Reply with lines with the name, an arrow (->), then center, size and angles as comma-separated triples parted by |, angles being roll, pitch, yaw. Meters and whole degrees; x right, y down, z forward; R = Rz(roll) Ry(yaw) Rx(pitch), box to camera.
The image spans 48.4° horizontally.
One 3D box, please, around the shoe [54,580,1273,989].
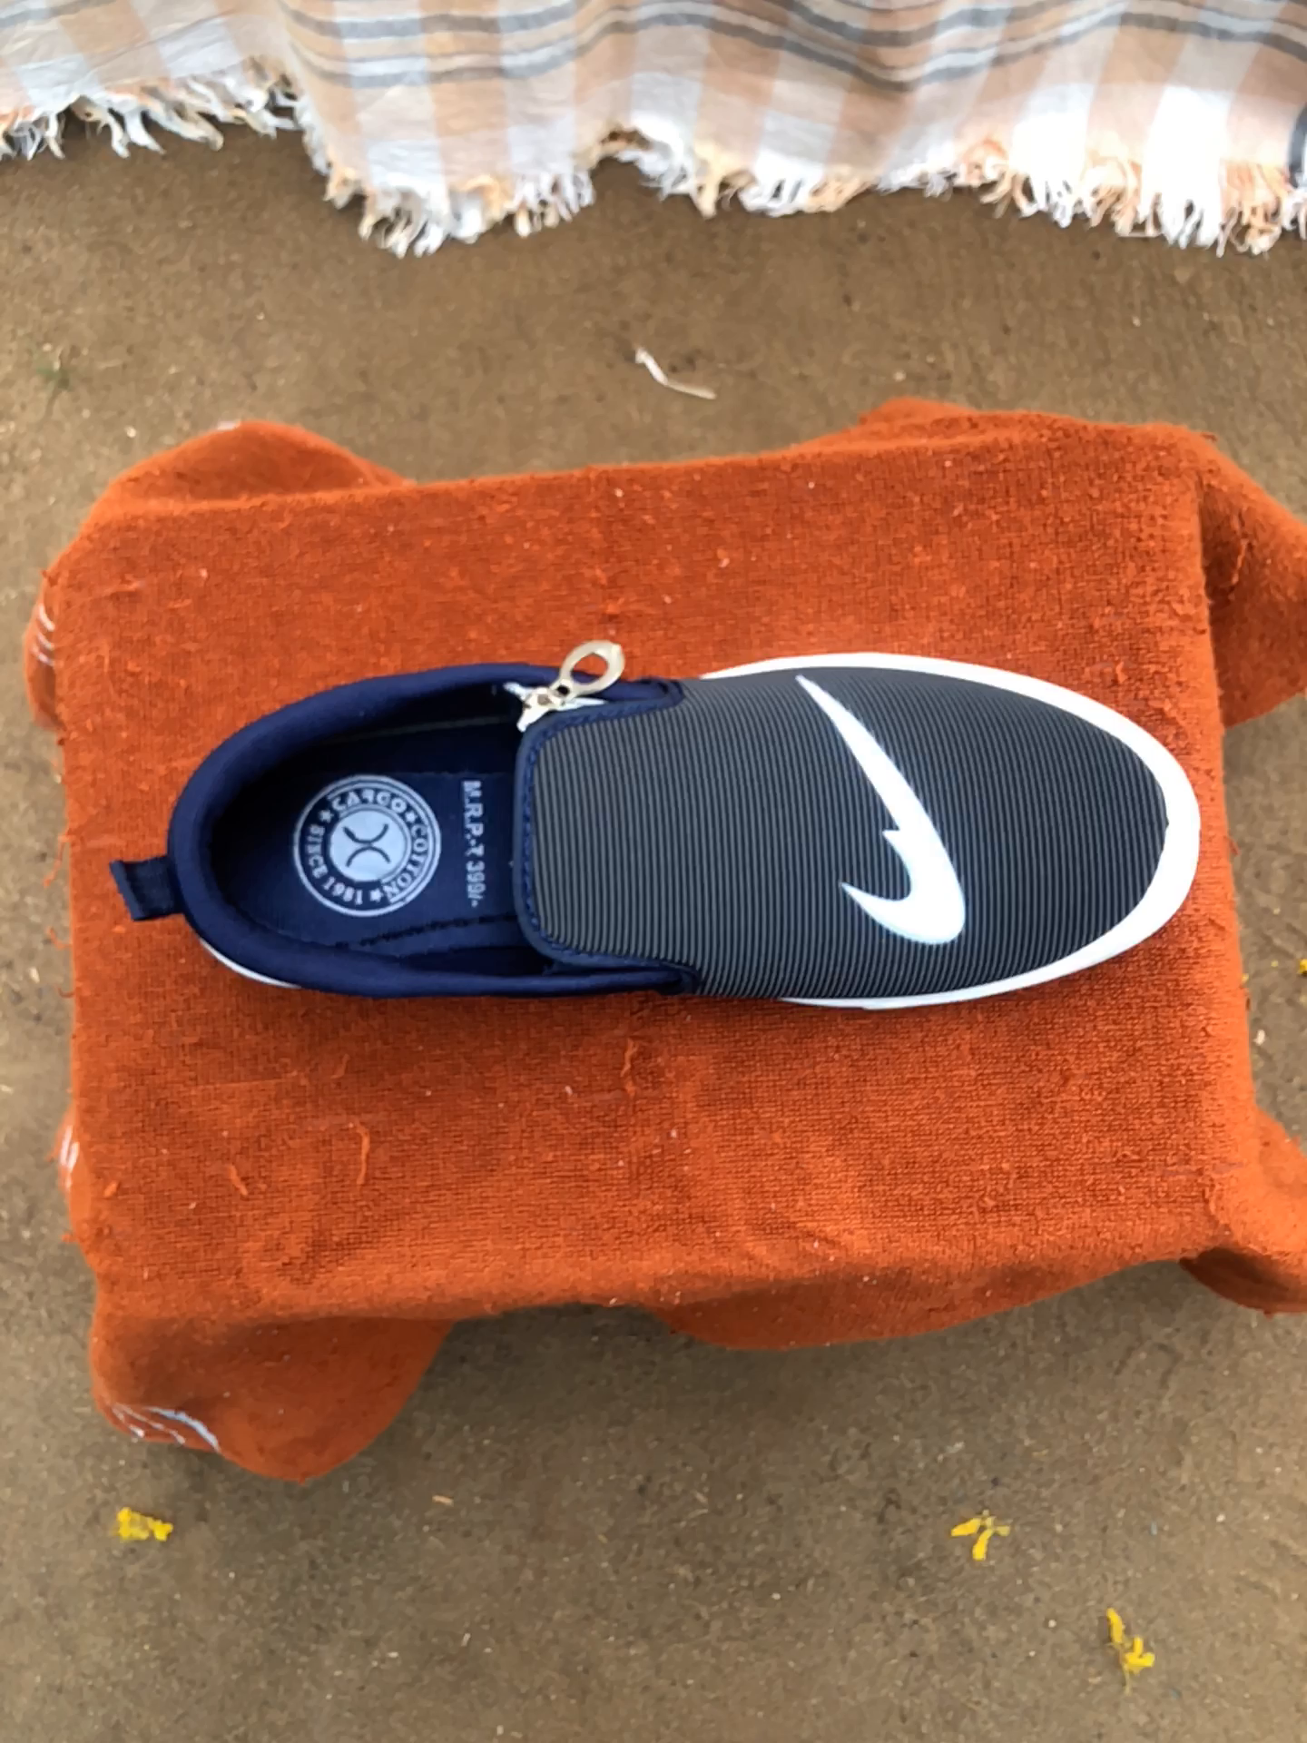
shoe -> 0.003, -0.019, 0.402 | 0.300, 0.080, 0.100 | 0, 85, -1
